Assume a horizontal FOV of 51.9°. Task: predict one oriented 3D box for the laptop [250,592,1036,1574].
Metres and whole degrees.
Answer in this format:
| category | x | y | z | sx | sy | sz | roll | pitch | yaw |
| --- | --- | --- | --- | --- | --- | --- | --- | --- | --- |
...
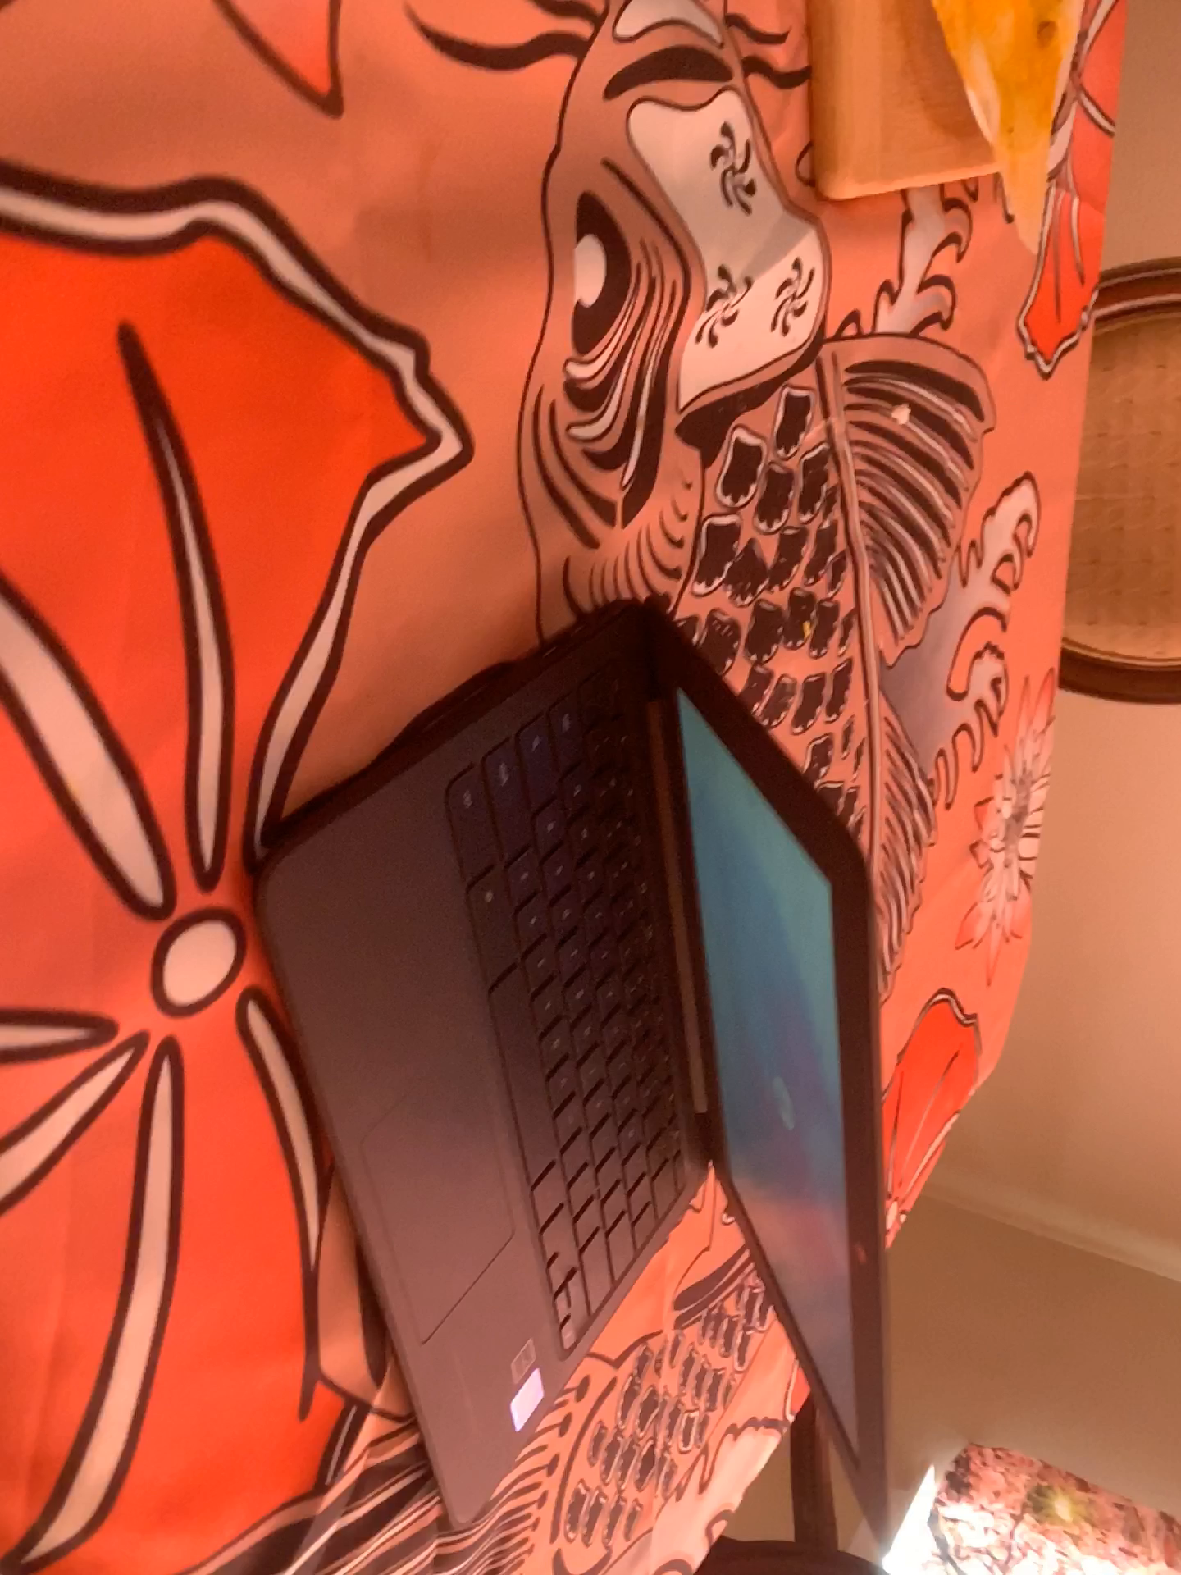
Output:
| category | x | y | z | sx | sy | sz | roll | pitch | yaw |
| --- | --- | --- | --- | --- | --- | --- | --- | --- | --- |
| laptop | 0.048 | 0.115 | 0.423 | 0.212 | 0.144 | 0.299 | -43 | 134 | -45 |
